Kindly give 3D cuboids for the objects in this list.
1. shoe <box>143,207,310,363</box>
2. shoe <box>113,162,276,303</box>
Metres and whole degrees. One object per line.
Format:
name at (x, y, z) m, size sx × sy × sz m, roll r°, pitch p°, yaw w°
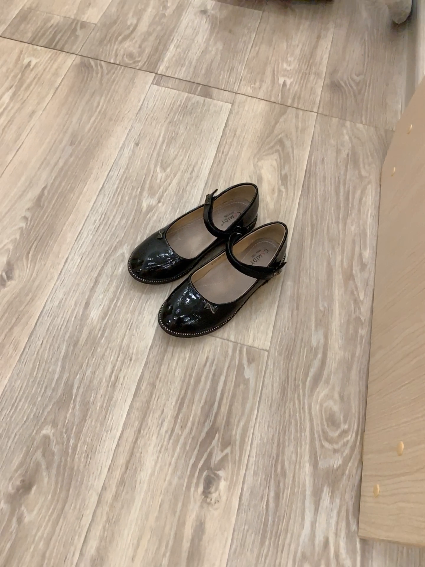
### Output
shoe at (0.022, 0.000, 0.688) m, size 0.250 × 0.100 × 0.090 m, roll -35°, pitch 70°, yaw -20°
shoe at (-0.027, -0.087, 0.728) m, size 0.250 × 0.100 × 0.090 m, roll -32°, pitch 69°, yaw -19°
